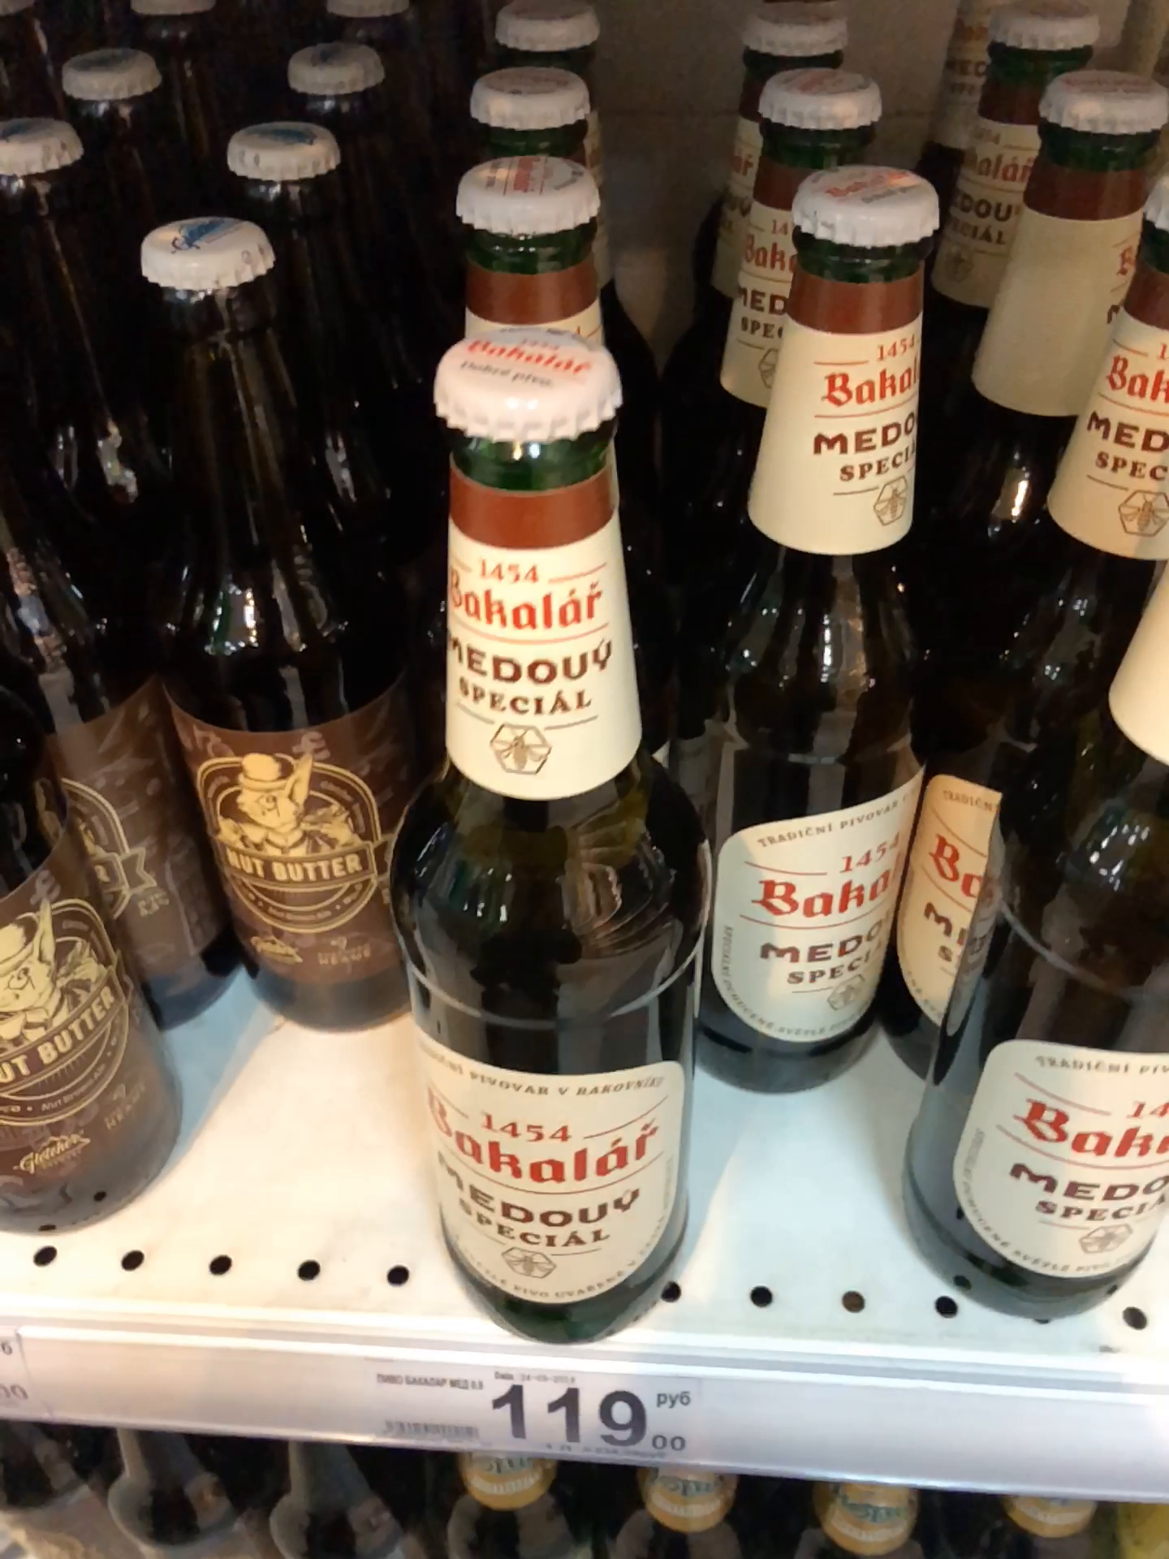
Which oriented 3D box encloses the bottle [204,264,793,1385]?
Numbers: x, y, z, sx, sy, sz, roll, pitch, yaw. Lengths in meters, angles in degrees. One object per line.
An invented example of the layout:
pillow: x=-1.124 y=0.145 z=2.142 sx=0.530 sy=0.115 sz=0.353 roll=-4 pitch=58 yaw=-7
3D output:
bottle: x=-0.007 y=0.032 z=0.274 sx=0.070 sy=0.249 sz=0.066 roll=-1 pitch=42 yaw=0

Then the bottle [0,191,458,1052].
bottle: x=-0.081 y=-0.025 z=0.347 sx=0.069 sy=0.231 sz=0.061 roll=3 pitch=42 yaw=4

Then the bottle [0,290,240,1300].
bottle: x=-0.147 y=0.021 z=0.301 sx=0.069 sy=0.233 sz=0.061 roll=-29 pitch=49 yaw=-27

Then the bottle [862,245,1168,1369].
bottle: x=0.108 y=0.030 z=0.269 sx=0.065 sy=0.249 sz=0.061 roll=-1 pitch=42 yaw=0
